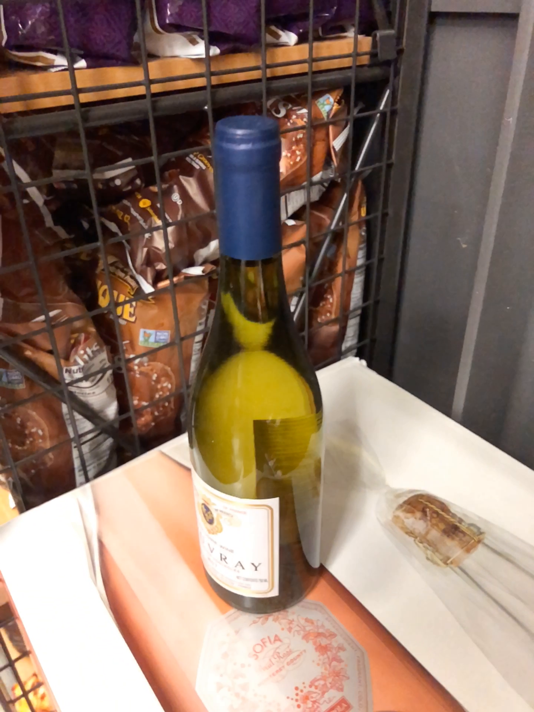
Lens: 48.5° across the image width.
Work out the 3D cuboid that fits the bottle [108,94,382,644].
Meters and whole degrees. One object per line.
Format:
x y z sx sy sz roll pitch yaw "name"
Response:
-0.008 0.018 0.325 0.083 0.281 0.085 -1 31 1 "bottle"
